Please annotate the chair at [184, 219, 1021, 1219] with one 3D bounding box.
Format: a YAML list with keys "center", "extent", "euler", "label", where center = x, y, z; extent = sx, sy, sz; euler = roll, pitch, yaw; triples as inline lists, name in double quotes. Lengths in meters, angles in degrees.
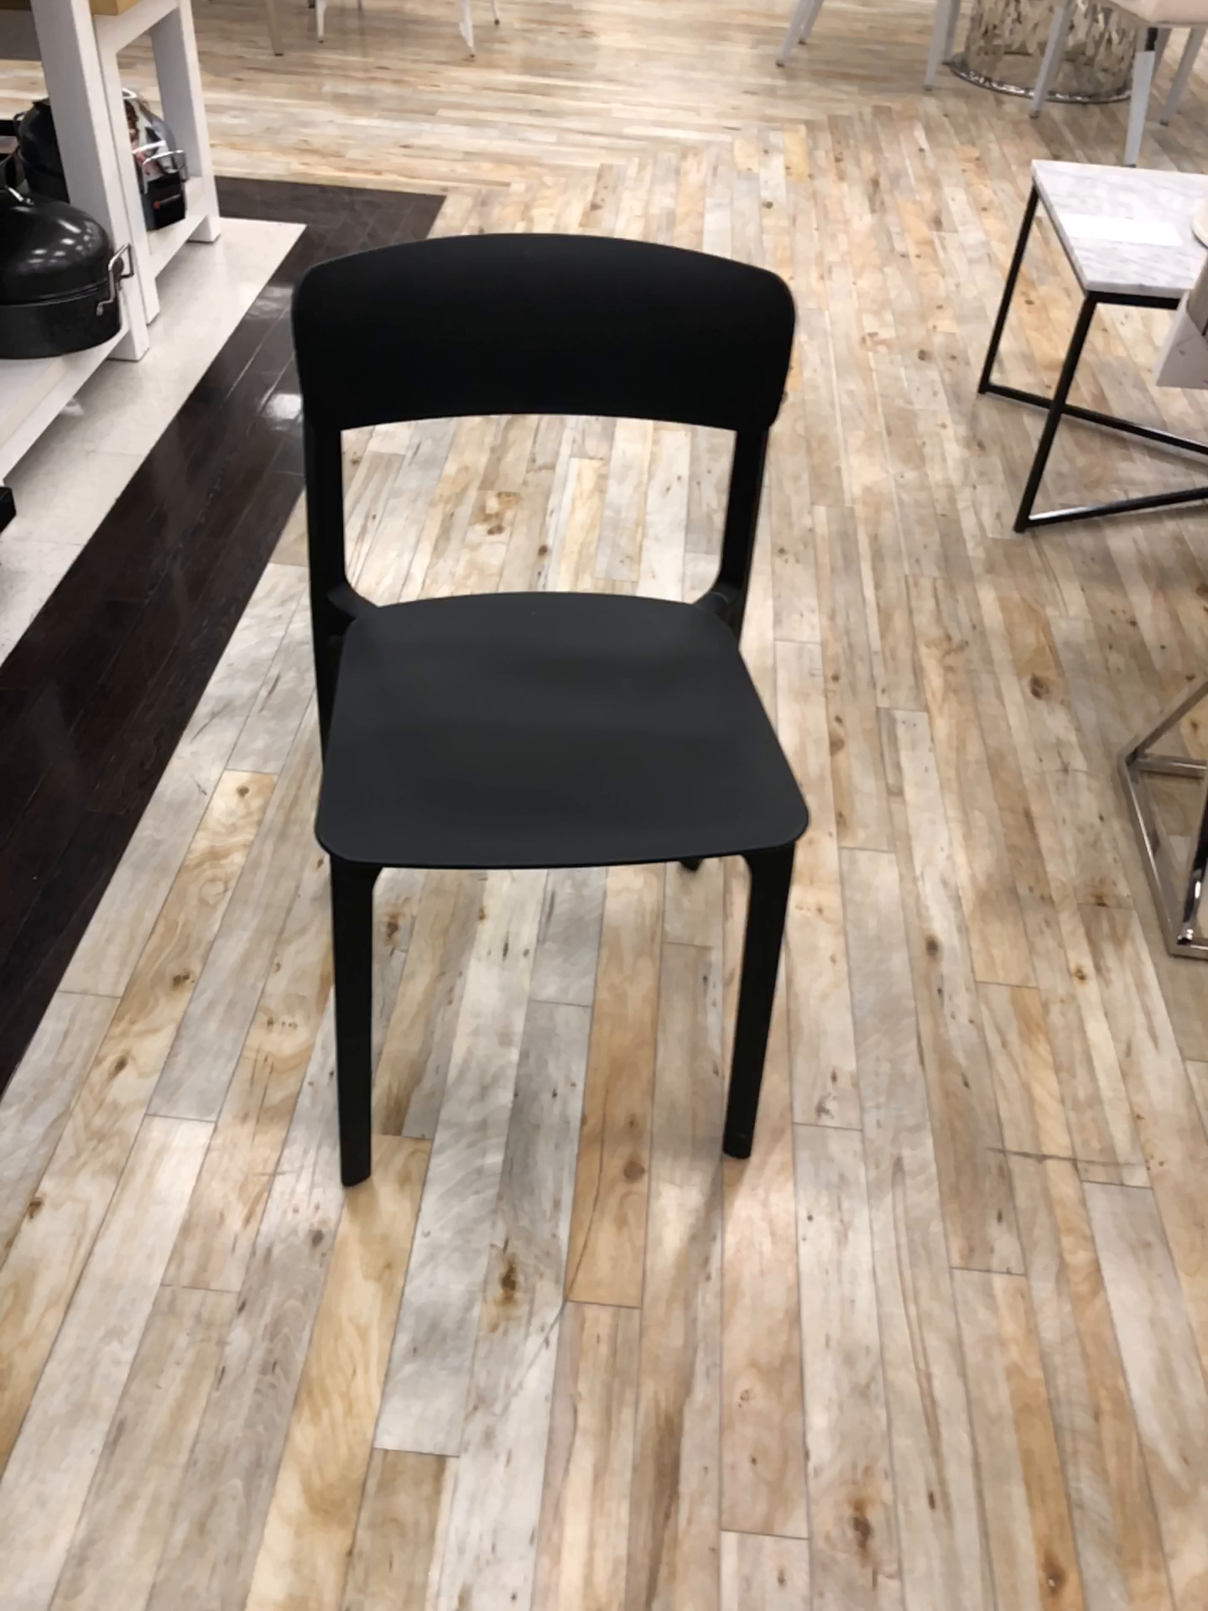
- center: [-0.045, -0.073, 1.224]
  extent: [0.500, 0.707, 0.542]
  euler: [-2, 42, -8]
  label: "chair"
